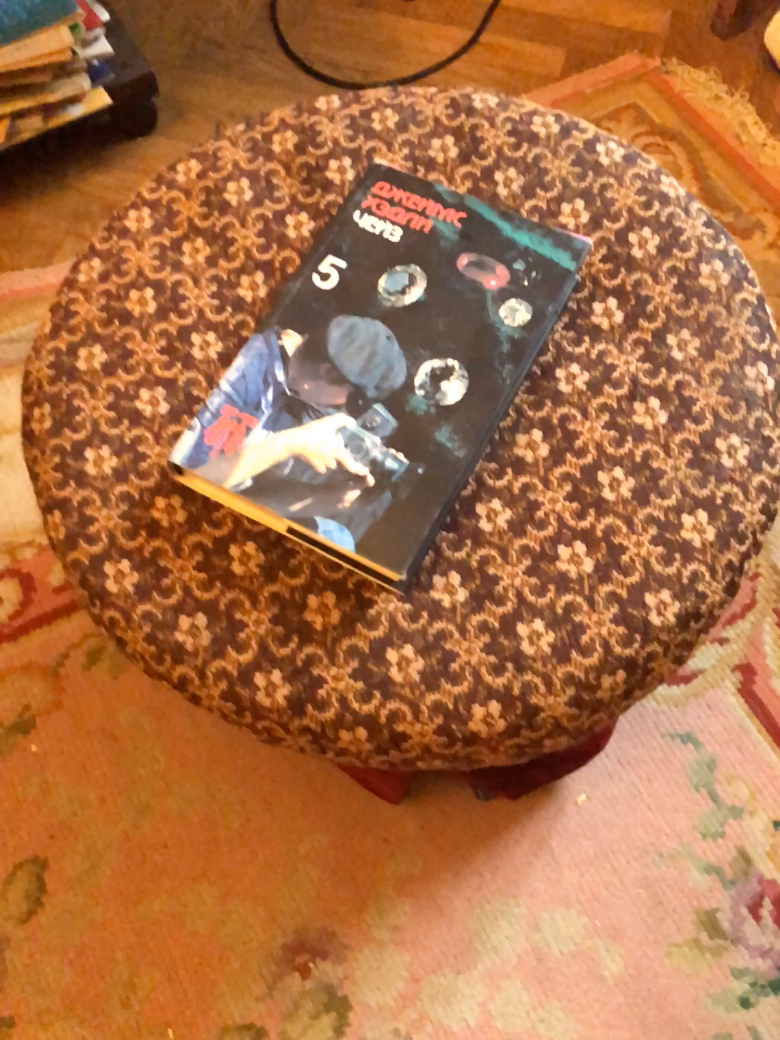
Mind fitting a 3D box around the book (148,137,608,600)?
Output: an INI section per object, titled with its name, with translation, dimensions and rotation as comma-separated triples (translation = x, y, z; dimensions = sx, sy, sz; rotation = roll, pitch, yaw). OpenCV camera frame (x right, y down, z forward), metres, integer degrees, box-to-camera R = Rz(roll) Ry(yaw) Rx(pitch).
[book]
translation = -0.002, -0.083, 0.426
dimensions = 0.140, 0.020, 0.205
rotation = 27, 75, 12
